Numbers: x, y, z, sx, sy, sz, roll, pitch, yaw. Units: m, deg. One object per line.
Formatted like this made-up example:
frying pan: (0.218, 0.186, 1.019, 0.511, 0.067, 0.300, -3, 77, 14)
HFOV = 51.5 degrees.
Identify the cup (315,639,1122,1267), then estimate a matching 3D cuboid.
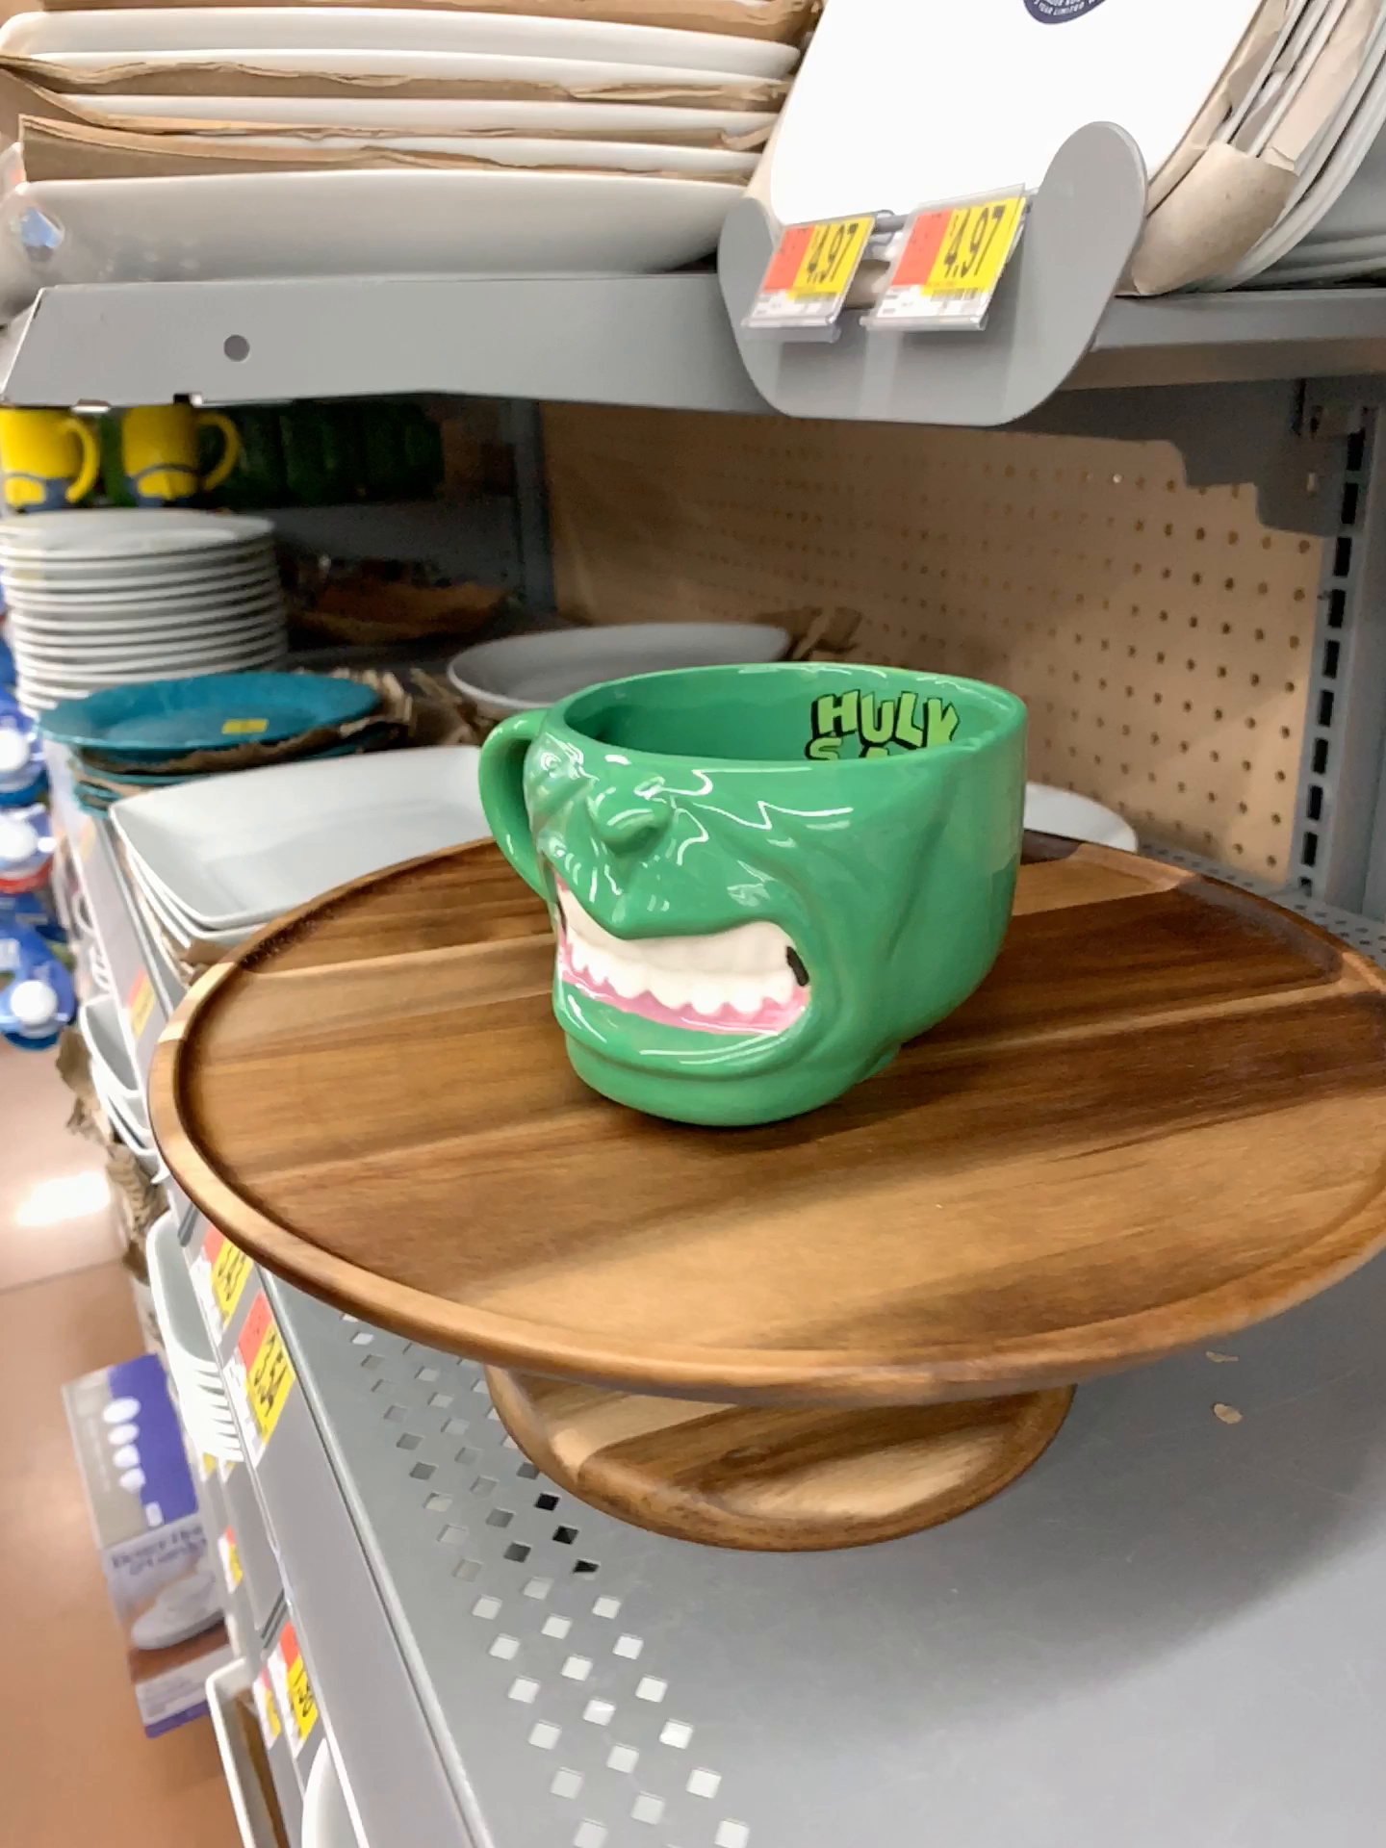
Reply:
cup: (0.011, -0.009, 0.352, 0.140, 0.090, 0.130, -2, 21, 1)
